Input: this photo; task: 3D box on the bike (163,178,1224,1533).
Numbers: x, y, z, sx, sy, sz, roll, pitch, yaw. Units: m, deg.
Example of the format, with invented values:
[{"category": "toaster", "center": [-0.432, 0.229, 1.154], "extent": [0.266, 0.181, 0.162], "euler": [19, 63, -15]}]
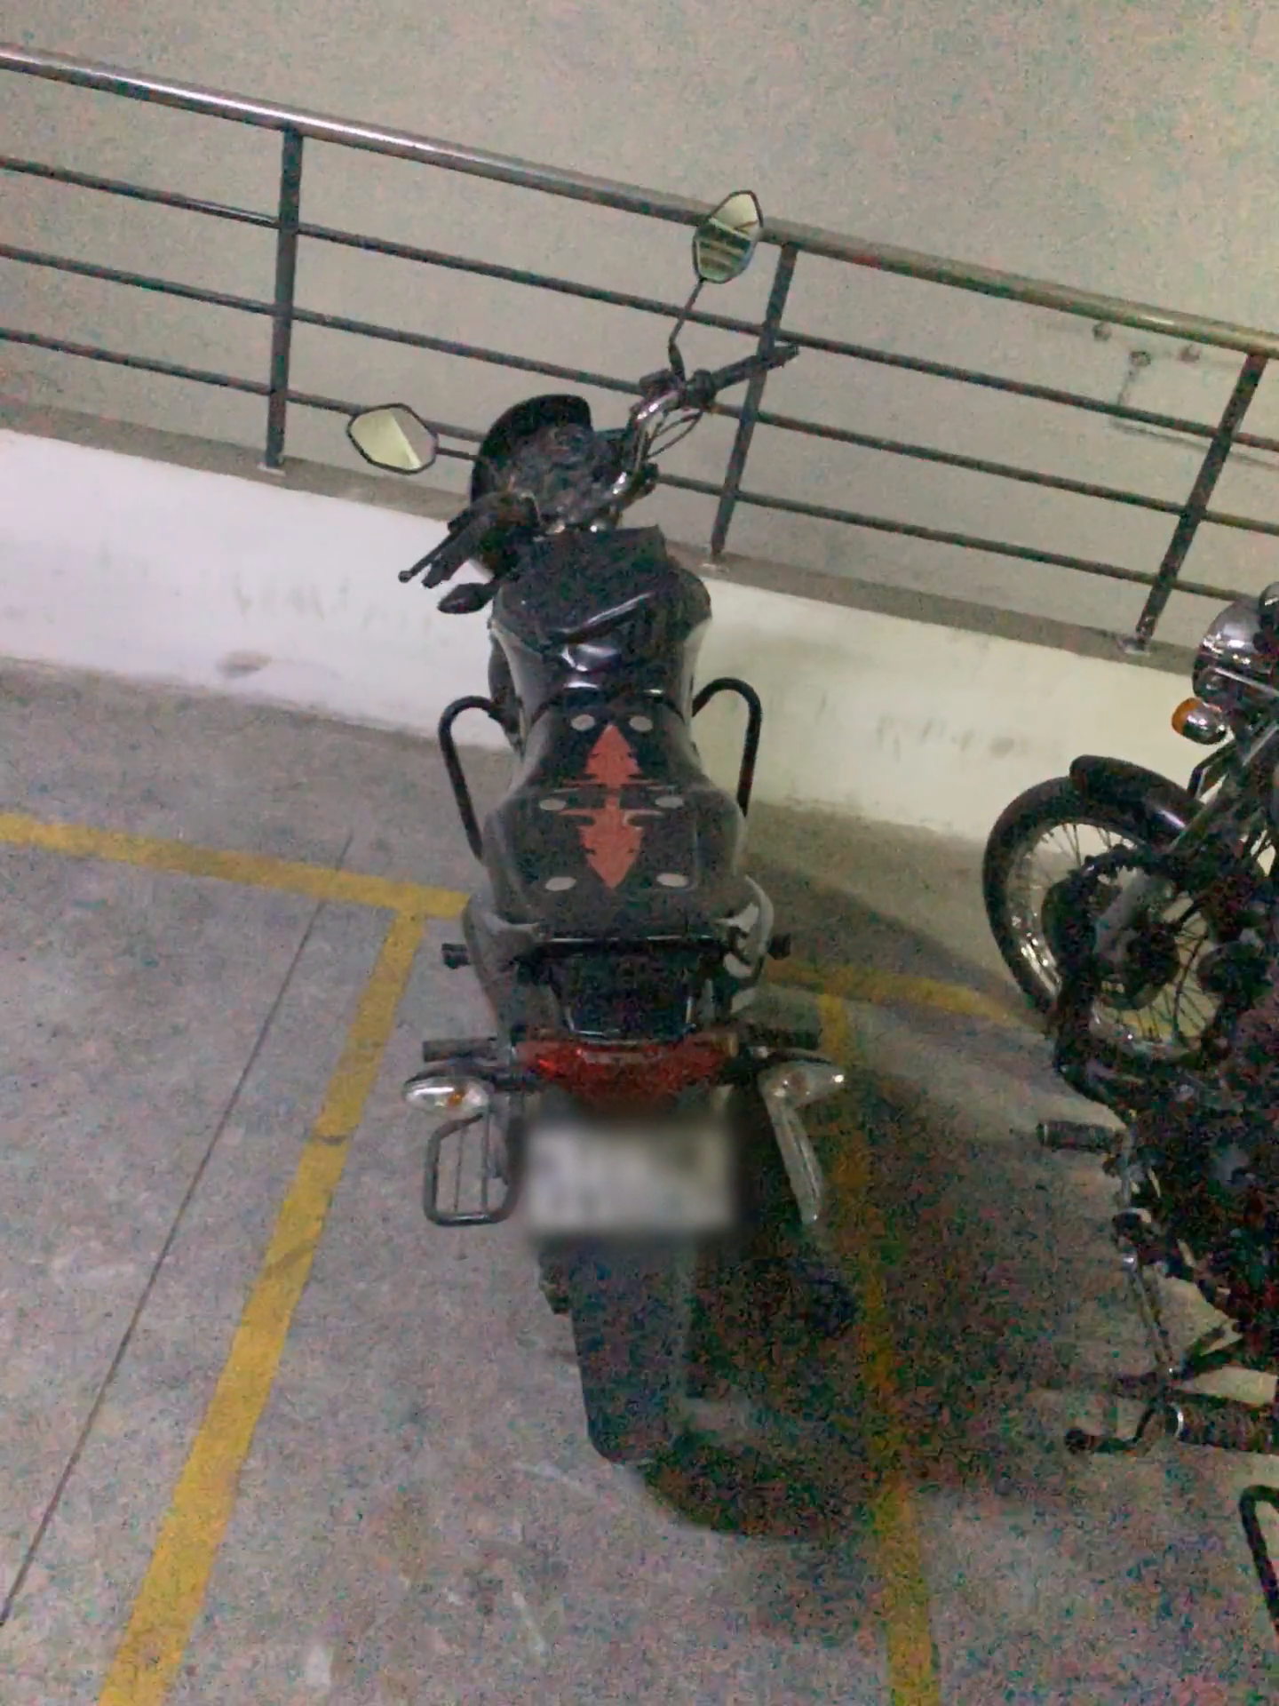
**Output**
[{"category": "bike", "center": [-0.190, -0.175, 1.875], "extent": [0.755, 1.067, 1.683], "euler": [5, 32, -15]}]
